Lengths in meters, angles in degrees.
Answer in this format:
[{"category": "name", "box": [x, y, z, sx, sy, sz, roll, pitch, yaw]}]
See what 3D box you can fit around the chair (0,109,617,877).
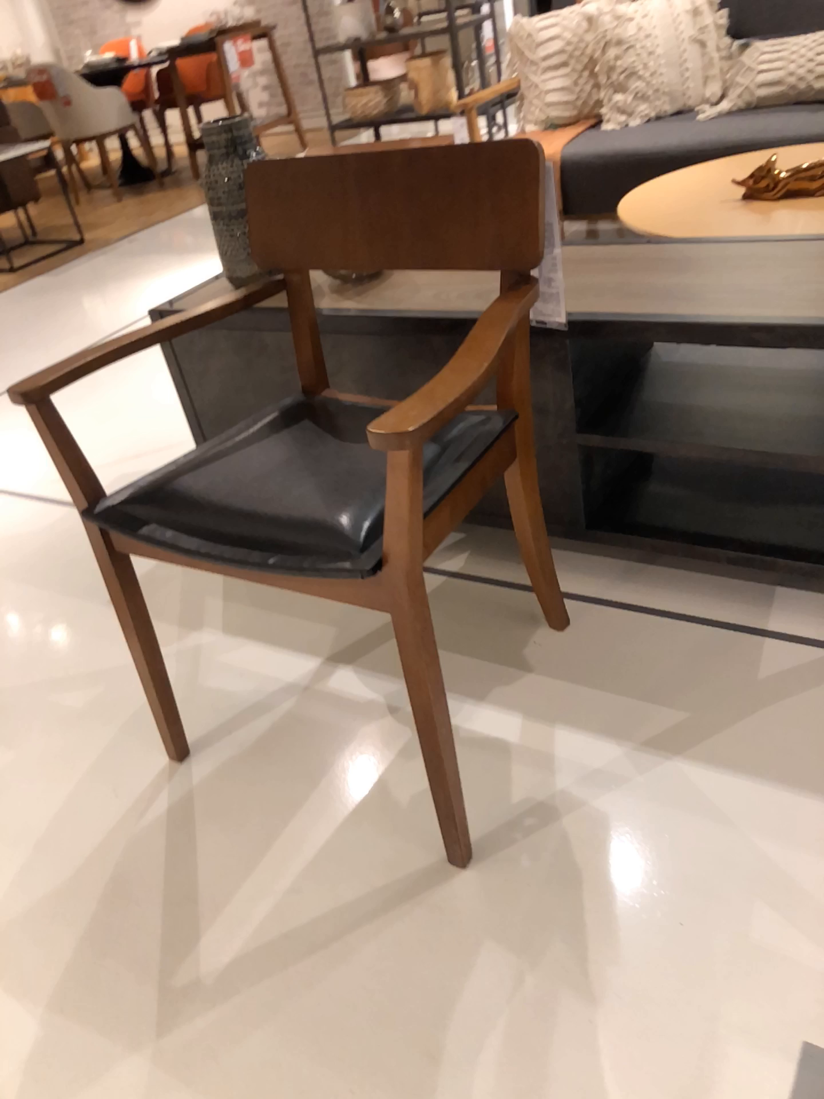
[{"category": "chair", "box": [-0.111, -0.109, 1.242, 0.561, 0.744, 0.573, 10, 38, 31]}]
